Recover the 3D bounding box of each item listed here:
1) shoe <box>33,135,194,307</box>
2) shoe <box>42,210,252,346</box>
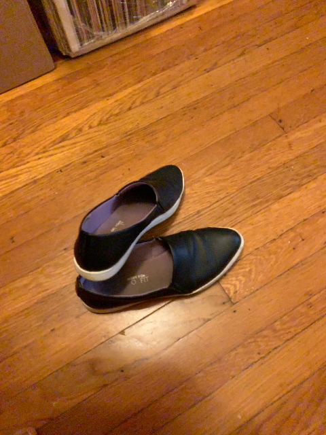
[{"bbox_3d":[-0.056,-0.012,0.479,0.100,0.080,0.250,25,48,12],"label":"shoe"},{"bbox_3d":[-0.022,0.088,0.475,0.260,0.080,0.100,-18,67,-5],"label":"shoe"}]
